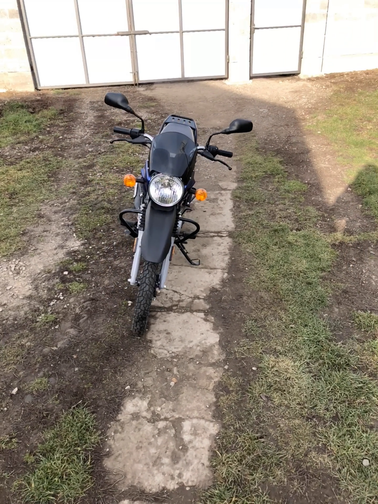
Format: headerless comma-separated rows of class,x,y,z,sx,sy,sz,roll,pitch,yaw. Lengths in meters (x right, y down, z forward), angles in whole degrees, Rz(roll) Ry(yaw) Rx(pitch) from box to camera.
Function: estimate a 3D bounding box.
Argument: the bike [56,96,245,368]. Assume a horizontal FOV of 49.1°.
bike,-0.106,-0.298,2.775,0.806,1.049,1.792,0,31,3
